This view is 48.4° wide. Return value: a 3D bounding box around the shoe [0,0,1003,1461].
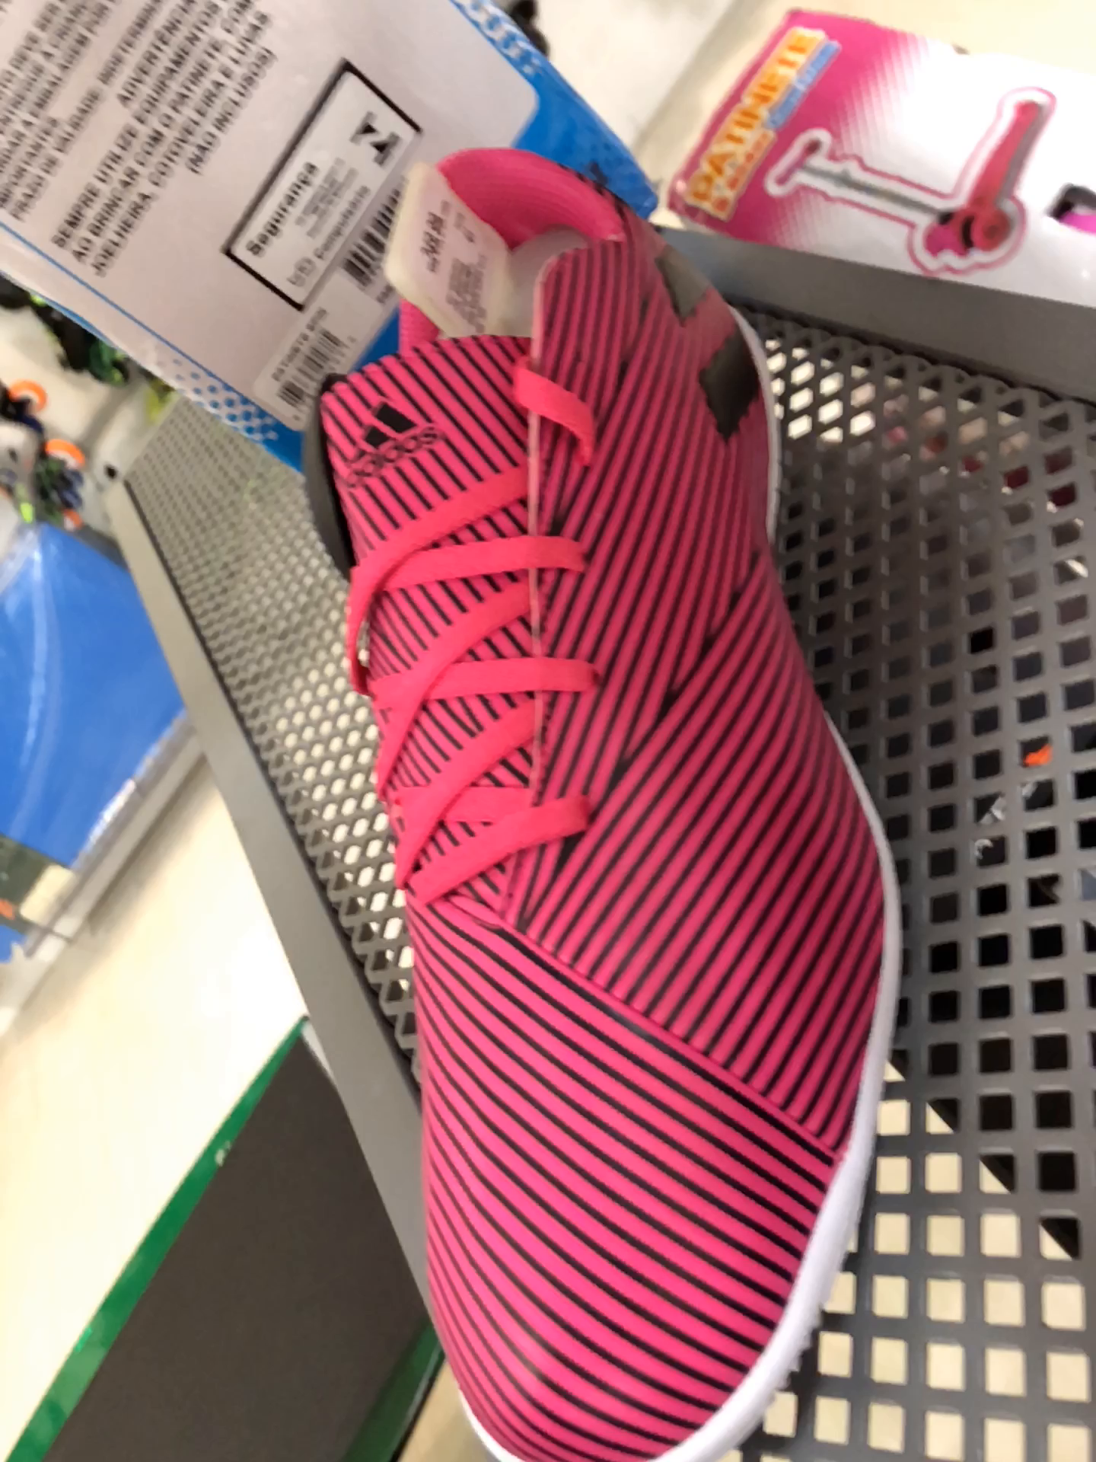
[{"bbox_3d":[0.001,-0.007,0.230,0.096,0.099,0.261,-25,46,39],"label":"shoe"}]
